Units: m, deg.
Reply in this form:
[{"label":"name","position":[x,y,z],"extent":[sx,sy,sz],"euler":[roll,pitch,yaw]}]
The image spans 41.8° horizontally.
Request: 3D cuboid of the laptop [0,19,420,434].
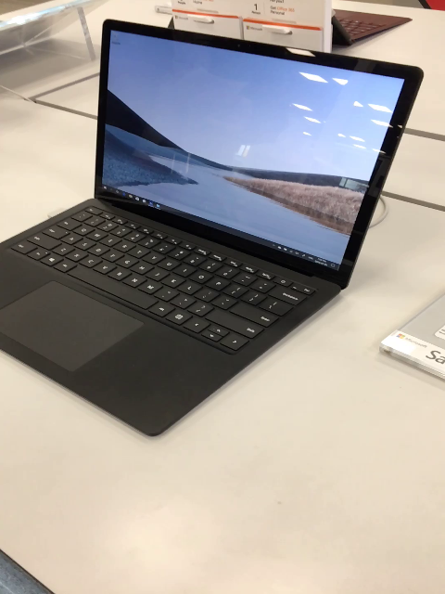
[{"label":"laptop","position":[-0.083,-0.088,0.507],"extent":[0.318,0.188,0.298],"euler":[28,54,31]}]
